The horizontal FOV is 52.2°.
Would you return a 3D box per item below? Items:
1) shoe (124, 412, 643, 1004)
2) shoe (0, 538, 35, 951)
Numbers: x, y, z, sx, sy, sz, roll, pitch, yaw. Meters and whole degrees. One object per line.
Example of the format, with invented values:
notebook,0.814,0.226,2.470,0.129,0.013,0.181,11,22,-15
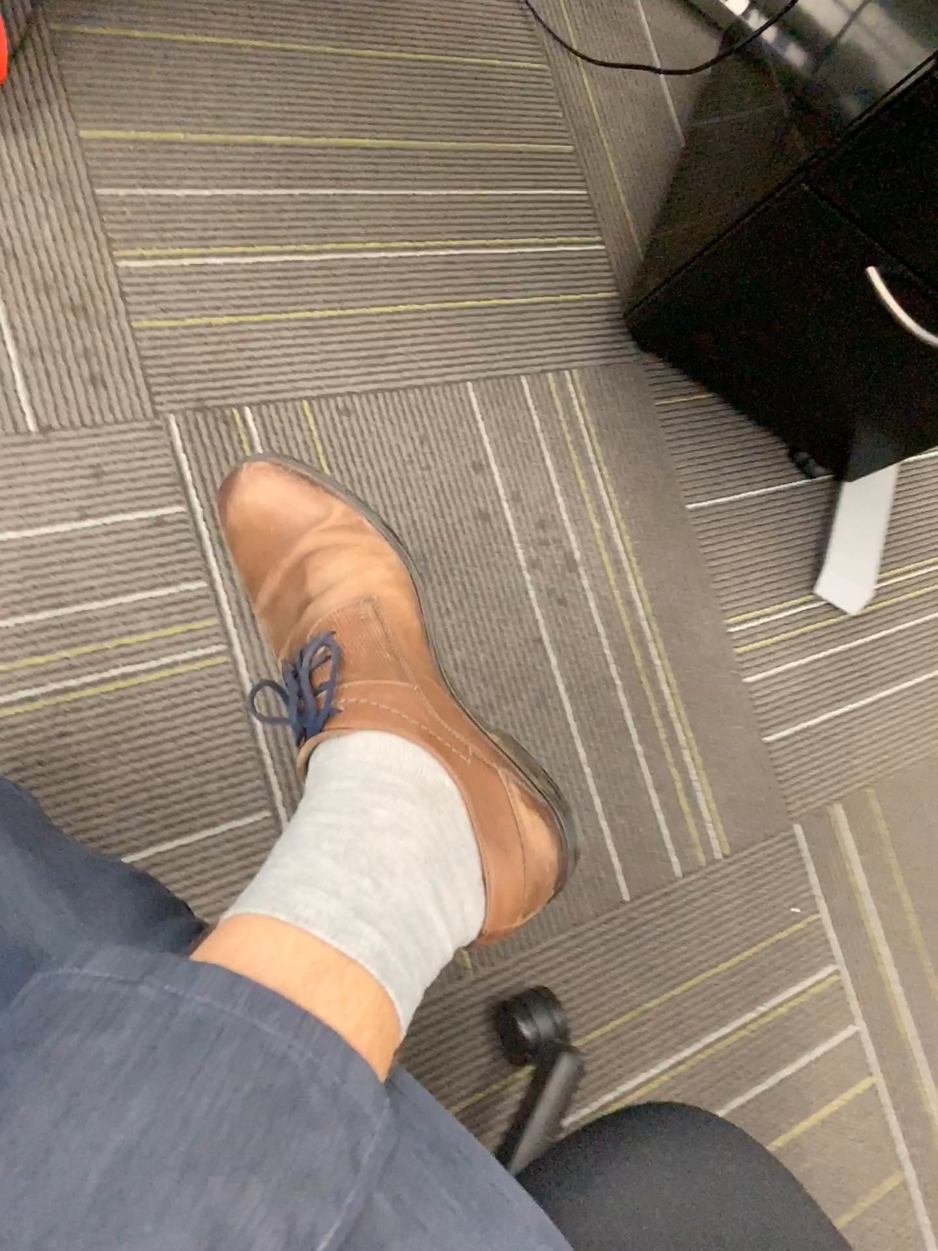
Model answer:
shoe,-0.046,0.043,0.520,0.293,0.114,0.082,55,32,1
shoe,-0.448,0.087,0.716,0.112,0.068,0.276,-29,92,-29
